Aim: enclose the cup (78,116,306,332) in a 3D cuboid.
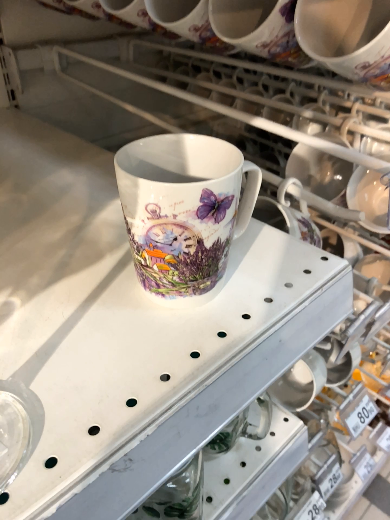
[{"bbox_3d":[-0.003,-0.032,0.302,0.119,0.094,0.082,-21,43,-28],"label":"cup"}]
